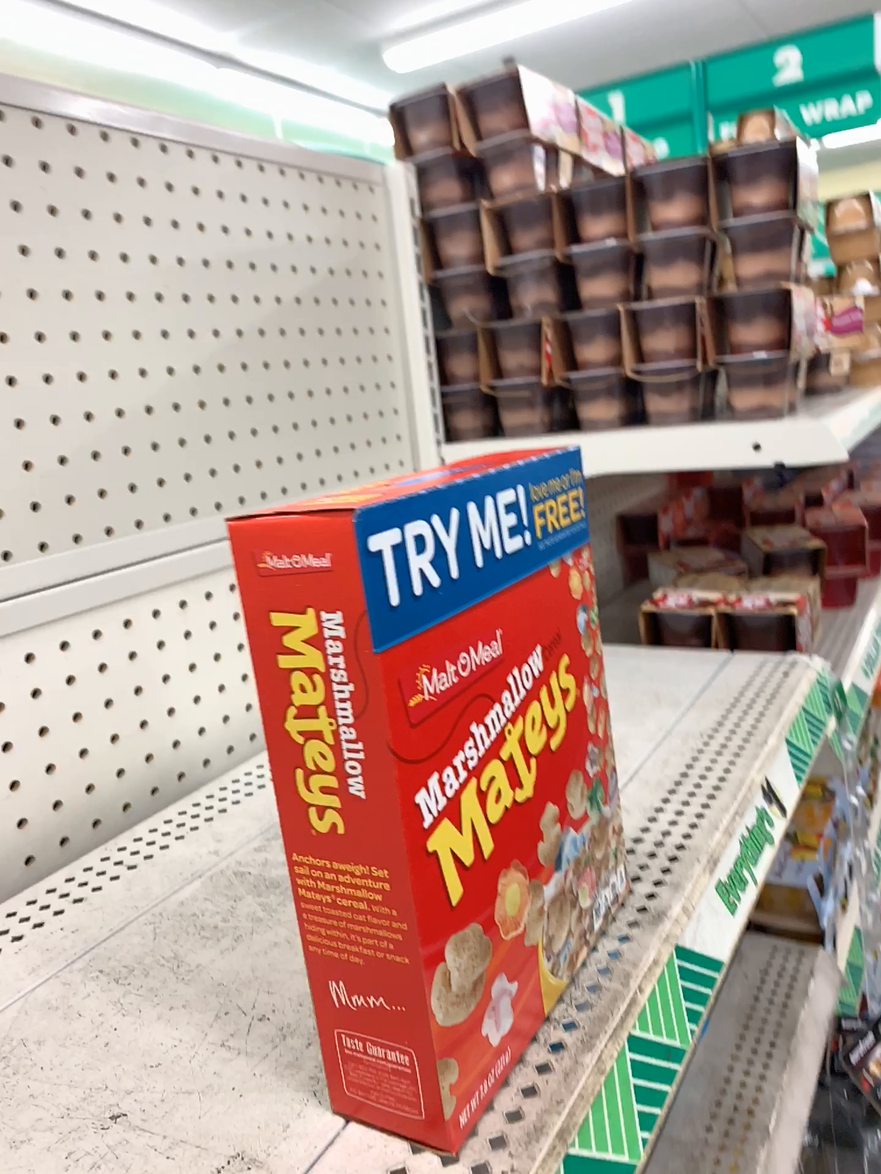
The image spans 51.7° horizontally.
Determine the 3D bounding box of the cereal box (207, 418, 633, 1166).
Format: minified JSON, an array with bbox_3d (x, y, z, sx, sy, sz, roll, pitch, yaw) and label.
[{"bbox_3d":[0.011,0.059,0.367,0.050,0.229,0.180,-1,14,33],"label":"cereal box"}]
